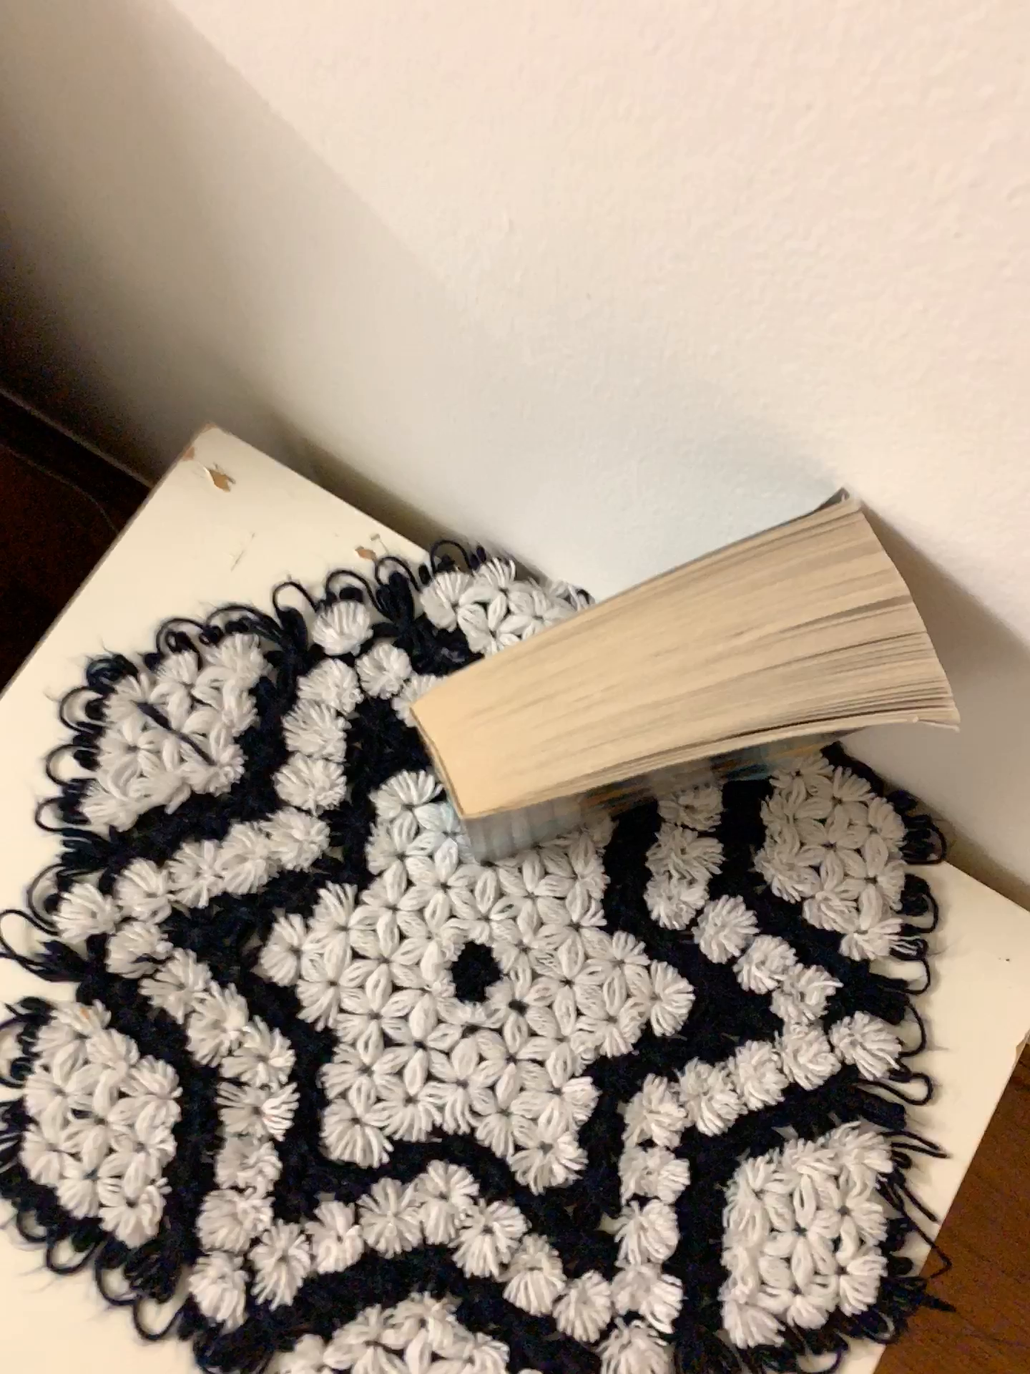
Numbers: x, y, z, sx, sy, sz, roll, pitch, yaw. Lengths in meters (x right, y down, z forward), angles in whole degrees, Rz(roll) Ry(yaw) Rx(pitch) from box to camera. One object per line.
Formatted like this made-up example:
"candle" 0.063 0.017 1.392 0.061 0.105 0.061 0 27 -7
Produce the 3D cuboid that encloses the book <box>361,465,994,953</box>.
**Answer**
"book" 0.040 0.023 0.347 0.142 0.178 0.068 -22 75 -7
